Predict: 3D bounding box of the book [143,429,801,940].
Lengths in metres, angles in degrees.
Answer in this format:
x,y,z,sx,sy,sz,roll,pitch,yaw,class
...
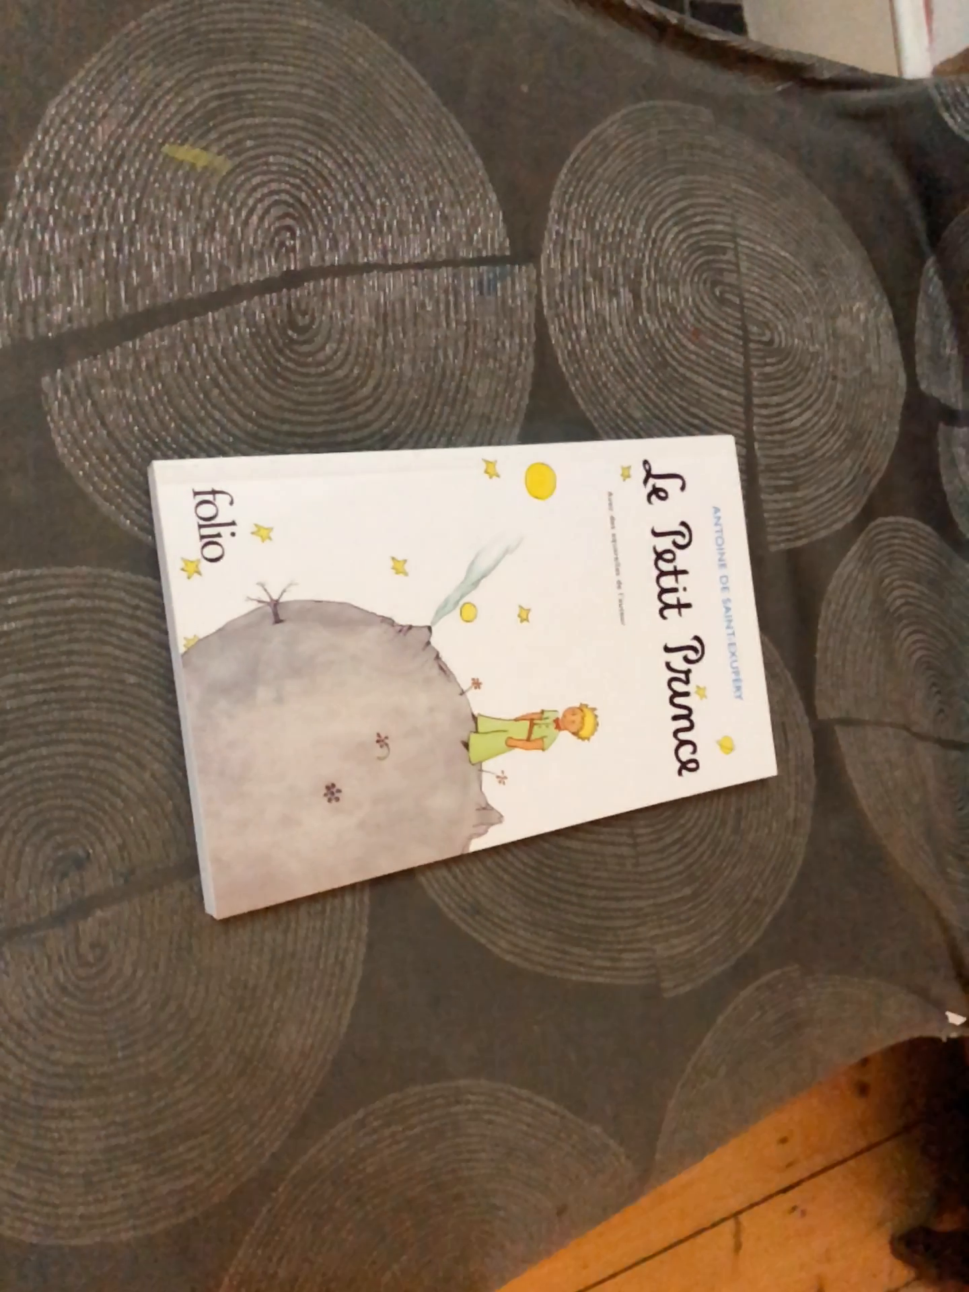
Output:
x,y,z,sx,sy,sz,roll,pitch,yaw,class
0.005,0.002,0.287,0.170,0.030,0.110,-7,95,-24,book
